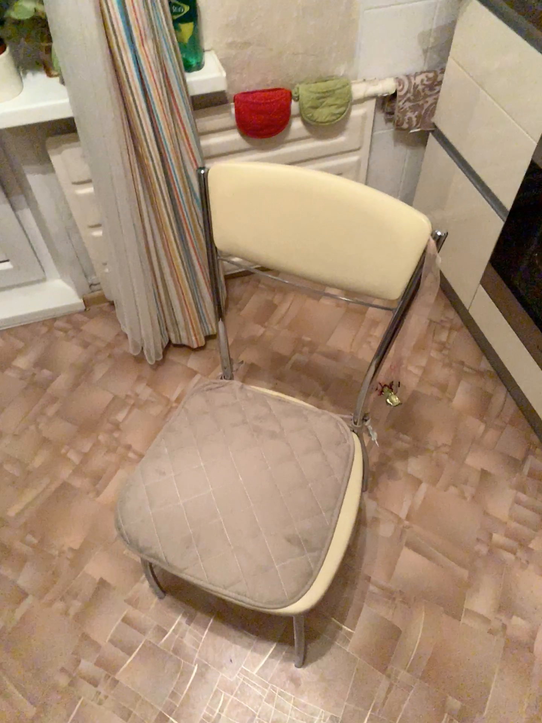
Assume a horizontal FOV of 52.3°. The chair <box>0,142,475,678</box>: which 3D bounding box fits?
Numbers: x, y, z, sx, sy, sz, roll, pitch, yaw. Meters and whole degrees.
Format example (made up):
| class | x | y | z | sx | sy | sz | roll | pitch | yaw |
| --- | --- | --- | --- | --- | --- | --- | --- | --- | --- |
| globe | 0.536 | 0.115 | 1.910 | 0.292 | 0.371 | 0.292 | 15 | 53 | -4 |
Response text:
| class | x | y | z | sx | sy | sz | roll | pitch | yaw |
| --- | --- | --- | --- | --- | --- | --- | --- | --- | --- |
| chair | 0.002 | 0.168 | 0.989 | 0.384 | 0.854 | 0.493 | 19 | 56 | 14 |
